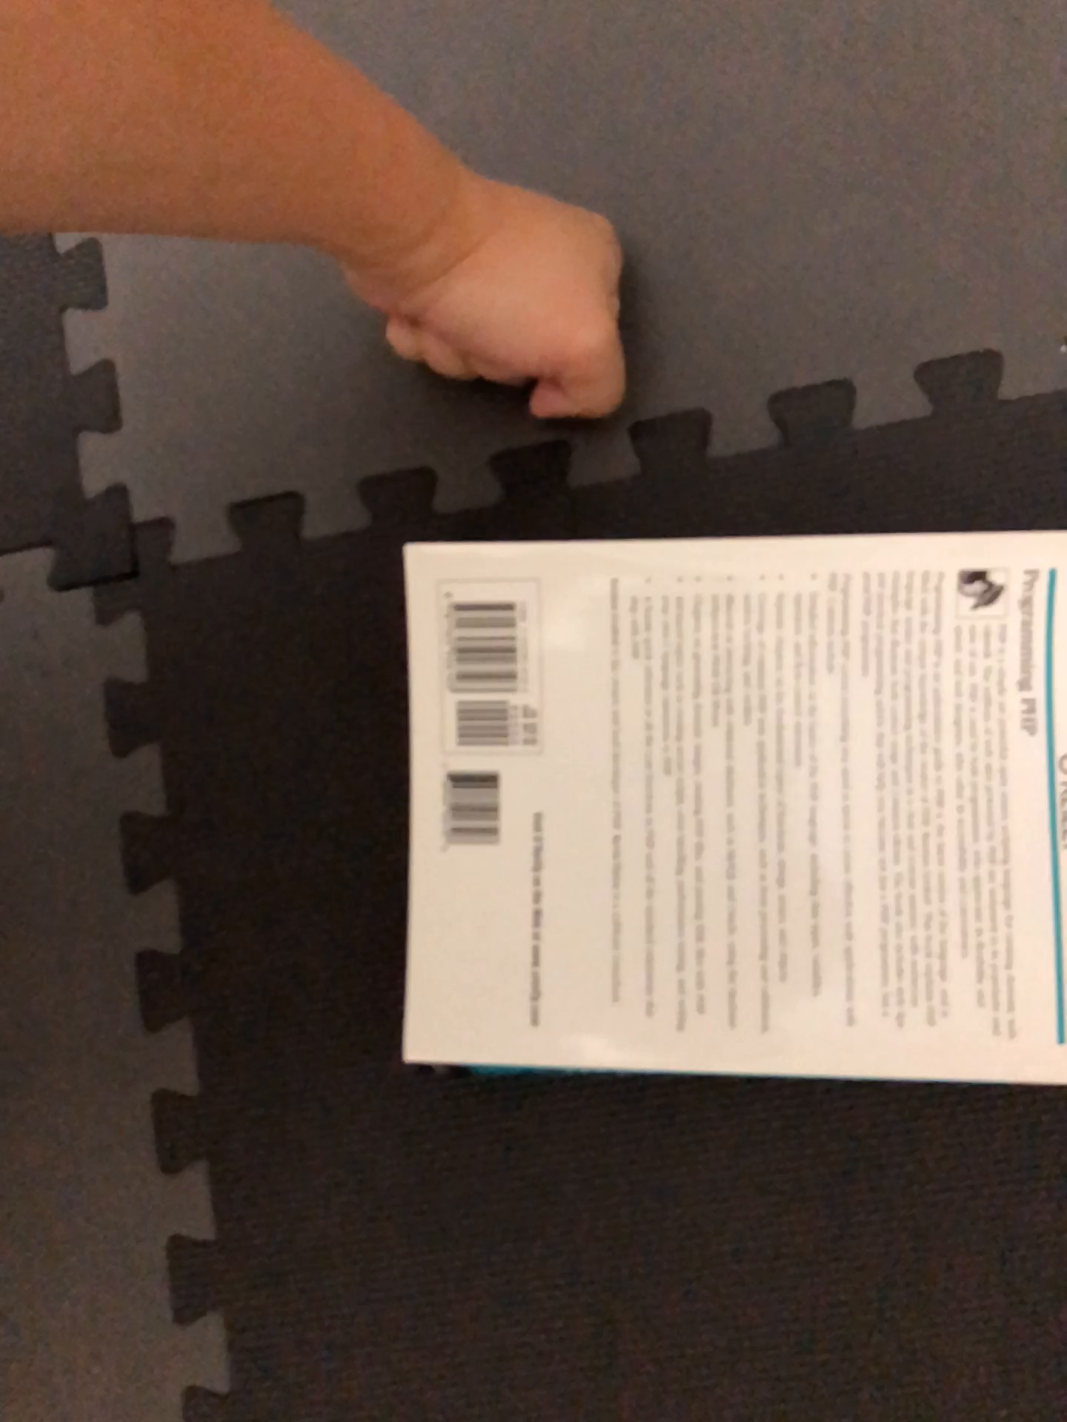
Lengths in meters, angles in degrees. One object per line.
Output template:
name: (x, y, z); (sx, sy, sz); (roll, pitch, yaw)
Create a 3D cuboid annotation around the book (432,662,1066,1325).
book: (0.111, 0.098, 0.467); (0.290, 0.040, 0.230); (1, 84, 10)
